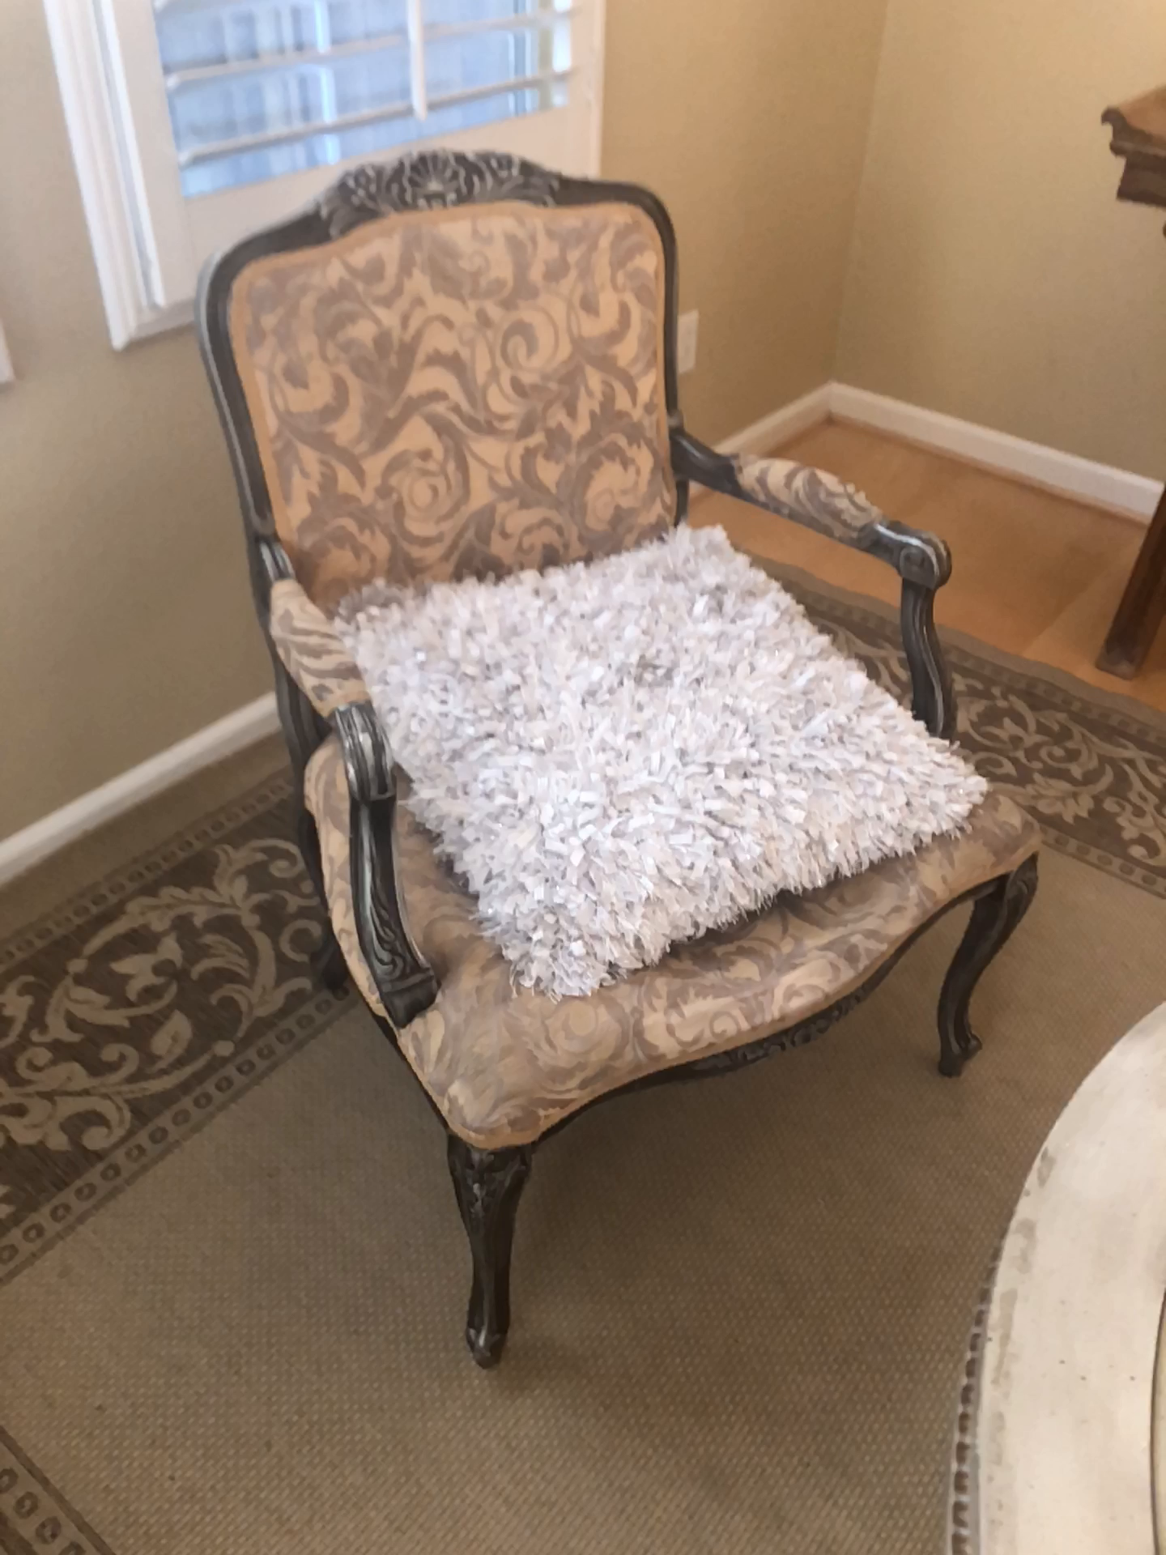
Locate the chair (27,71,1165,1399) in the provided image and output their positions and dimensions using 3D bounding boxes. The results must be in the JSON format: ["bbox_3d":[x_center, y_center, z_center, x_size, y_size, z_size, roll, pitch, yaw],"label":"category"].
[{"bbox_3d":[0.031,-0.089,1.313,0.764,0.971,0.652,-22,44,-28],"label":"chair"}]
